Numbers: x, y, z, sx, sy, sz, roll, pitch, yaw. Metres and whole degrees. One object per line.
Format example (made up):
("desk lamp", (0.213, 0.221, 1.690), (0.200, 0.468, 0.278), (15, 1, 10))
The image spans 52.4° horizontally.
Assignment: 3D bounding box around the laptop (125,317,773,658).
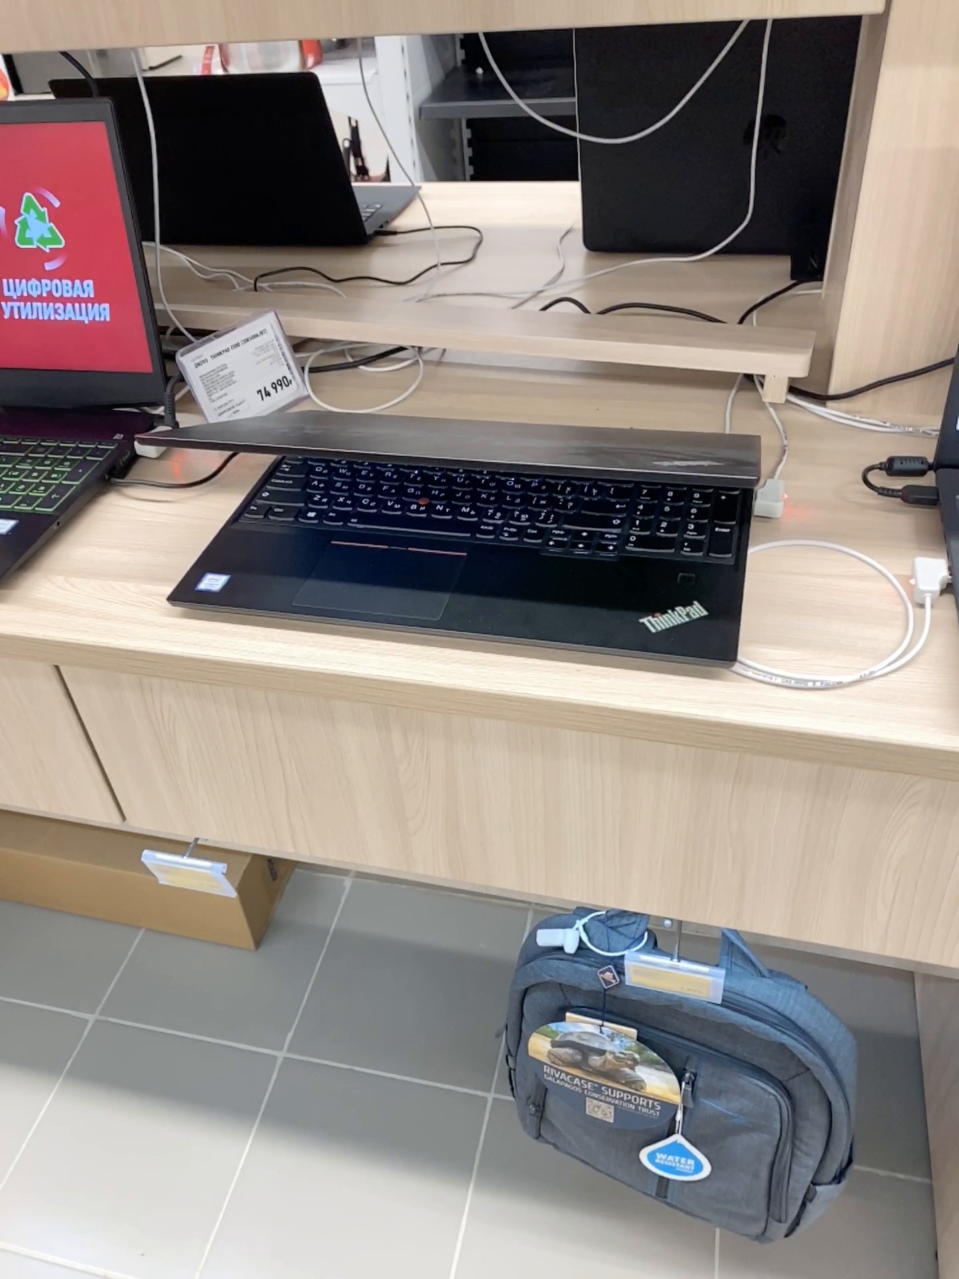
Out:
("laptop", (-0.004, -0.122, 0.658), (0.368, 0.093, 0.241), (6, 41, 16))
